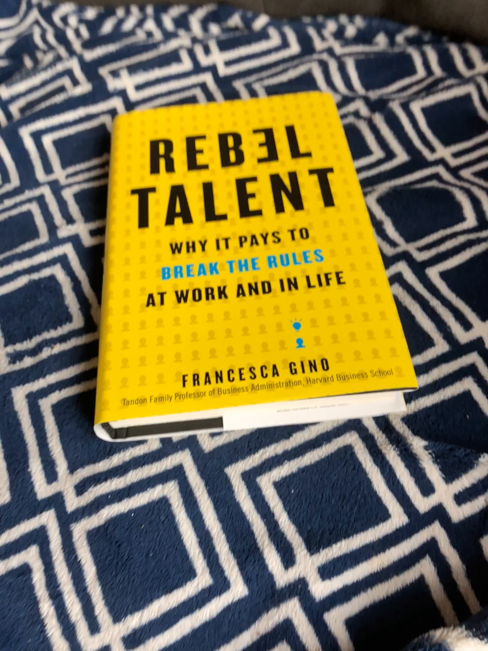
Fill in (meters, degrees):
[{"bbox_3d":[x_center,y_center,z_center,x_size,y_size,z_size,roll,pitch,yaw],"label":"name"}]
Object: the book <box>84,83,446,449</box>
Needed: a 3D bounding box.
[{"bbox_3d":[-0.001,-0.054,0.328,0.167,0.032,0.237,-6,57,-1],"label":"book"}]
